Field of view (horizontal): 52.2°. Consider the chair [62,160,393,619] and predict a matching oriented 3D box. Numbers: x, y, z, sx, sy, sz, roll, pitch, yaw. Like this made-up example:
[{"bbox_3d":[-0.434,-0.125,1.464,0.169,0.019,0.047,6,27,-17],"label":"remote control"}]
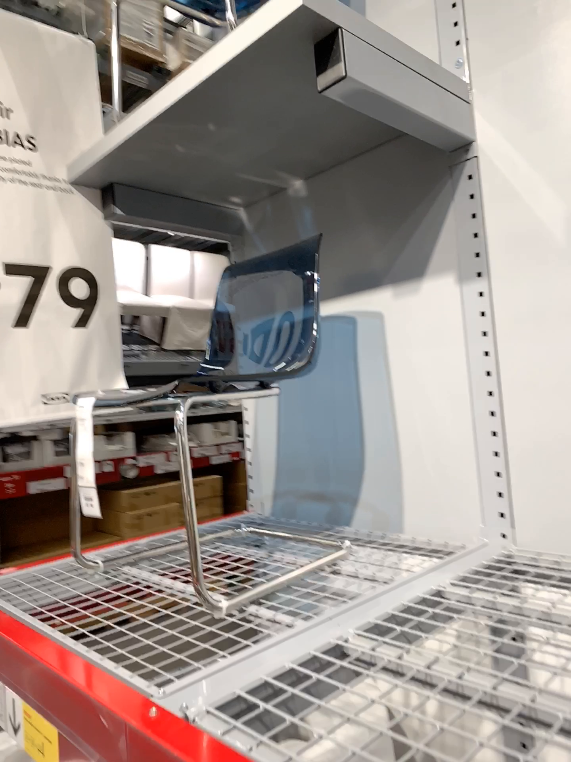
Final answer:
[{"bbox_3d":[-0.153,0.019,1.445,0.550,0.841,0.530,-2,-4,-42],"label":"chair"}]
